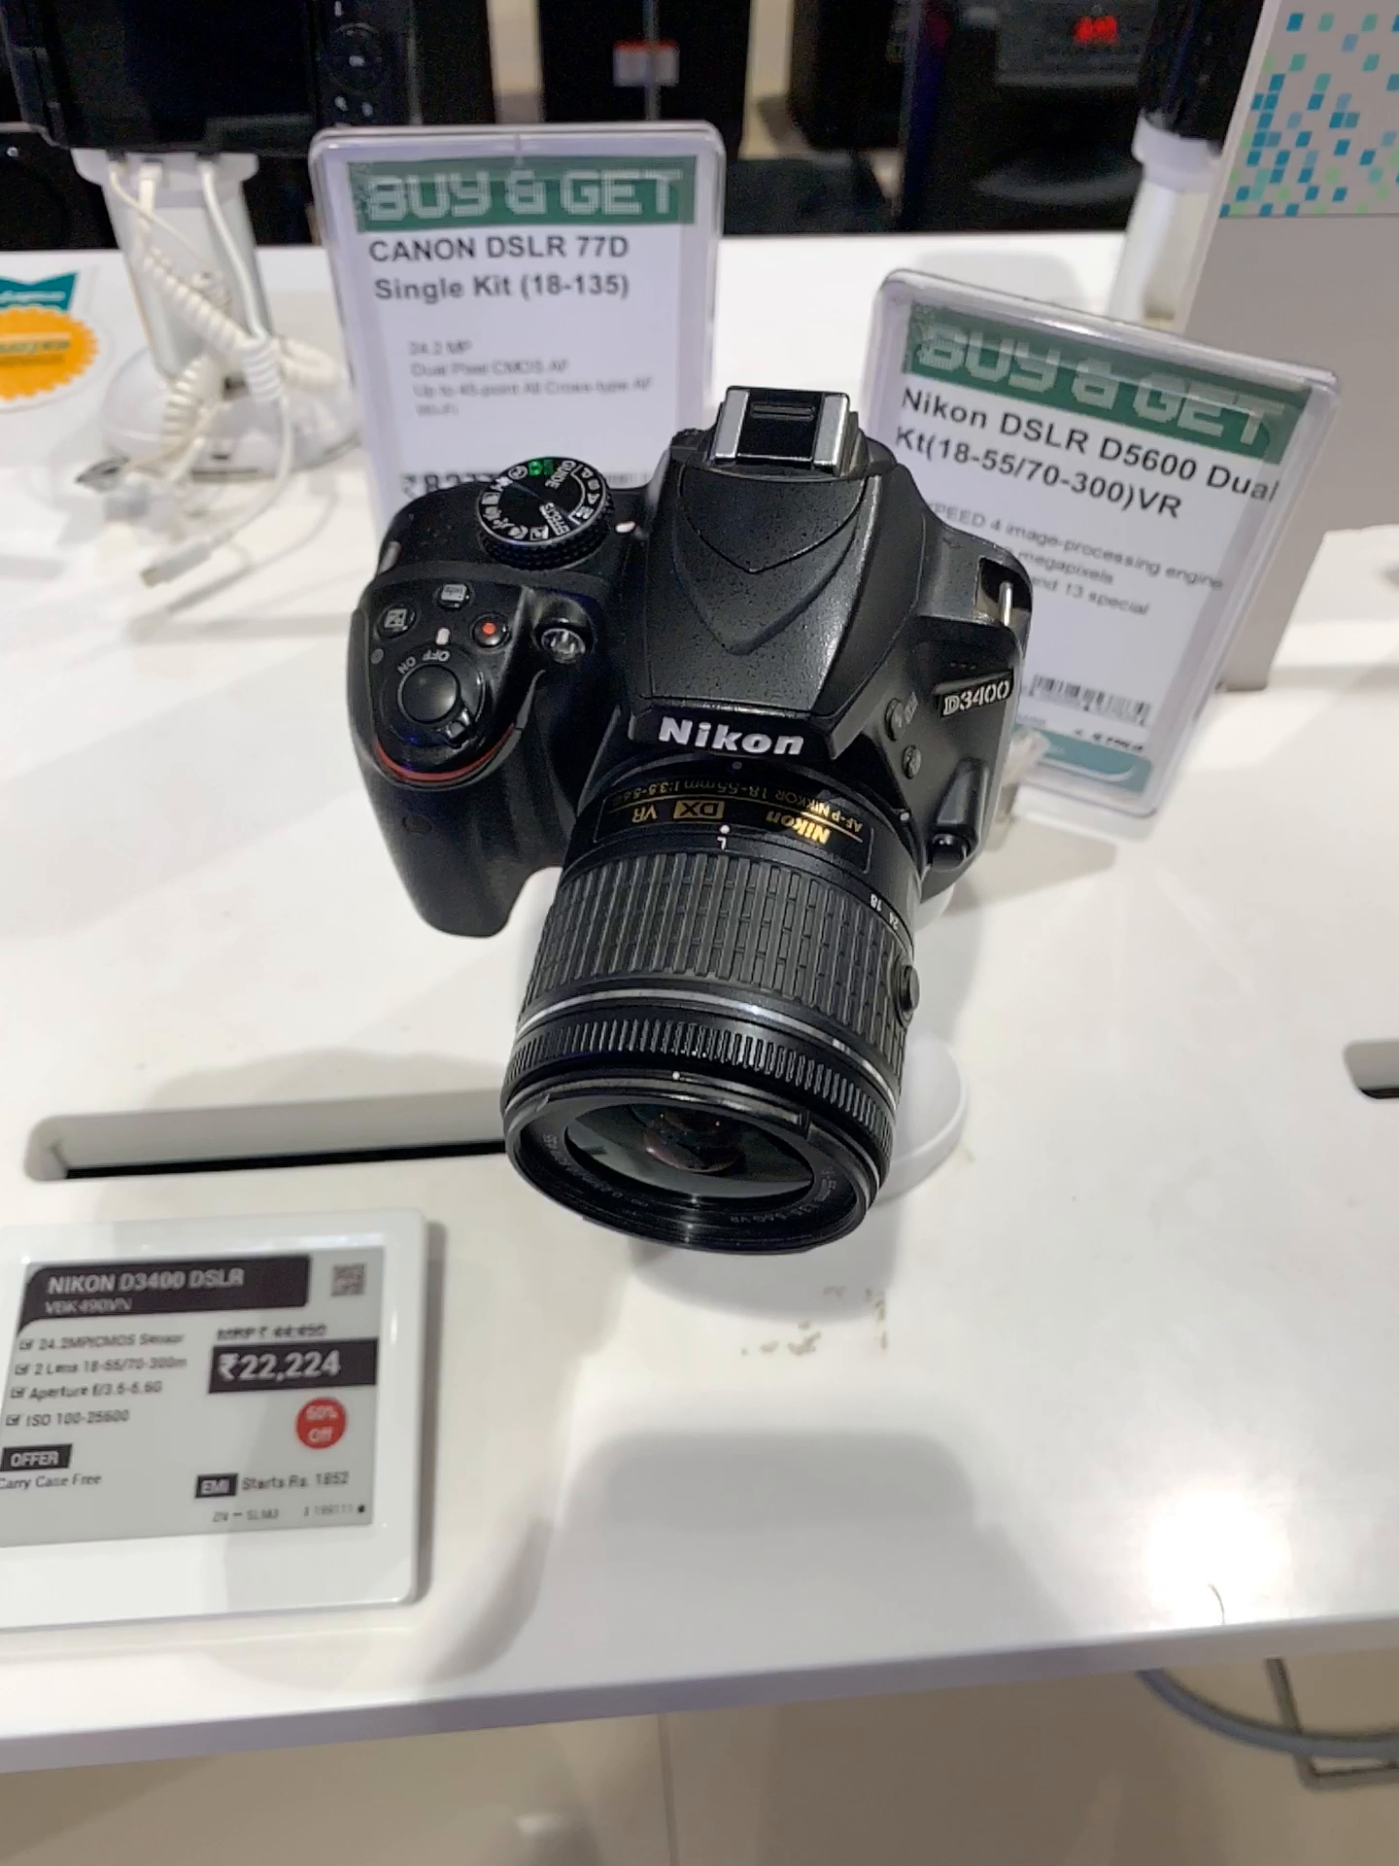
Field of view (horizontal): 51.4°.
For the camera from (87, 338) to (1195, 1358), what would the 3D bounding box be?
[{"bbox_3d":[-0.001,-0.016,0.223,0.120,0.080,0.120,7,54,3],"label":"camera"}]
